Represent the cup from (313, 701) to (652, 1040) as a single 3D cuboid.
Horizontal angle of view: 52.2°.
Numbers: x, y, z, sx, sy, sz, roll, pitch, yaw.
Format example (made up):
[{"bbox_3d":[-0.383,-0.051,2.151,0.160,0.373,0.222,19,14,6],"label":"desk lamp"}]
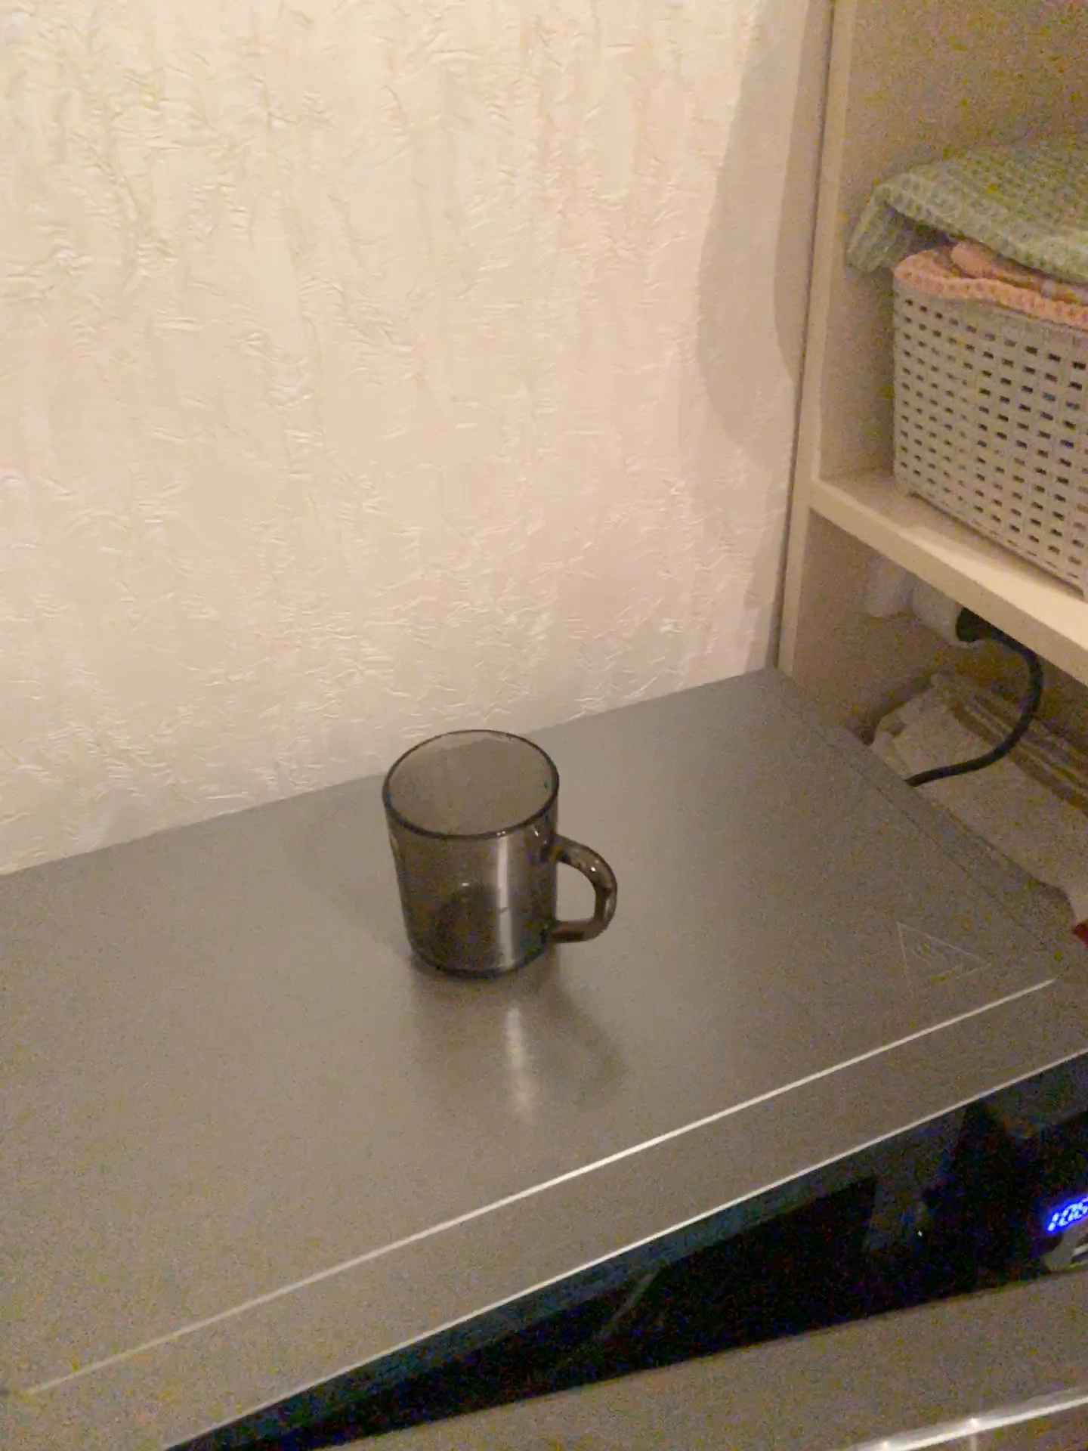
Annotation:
[{"bbox_3d":[-0.022,0.056,0.466,0.110,0.079,0.081,16,39,25],"label":"cup"}]
